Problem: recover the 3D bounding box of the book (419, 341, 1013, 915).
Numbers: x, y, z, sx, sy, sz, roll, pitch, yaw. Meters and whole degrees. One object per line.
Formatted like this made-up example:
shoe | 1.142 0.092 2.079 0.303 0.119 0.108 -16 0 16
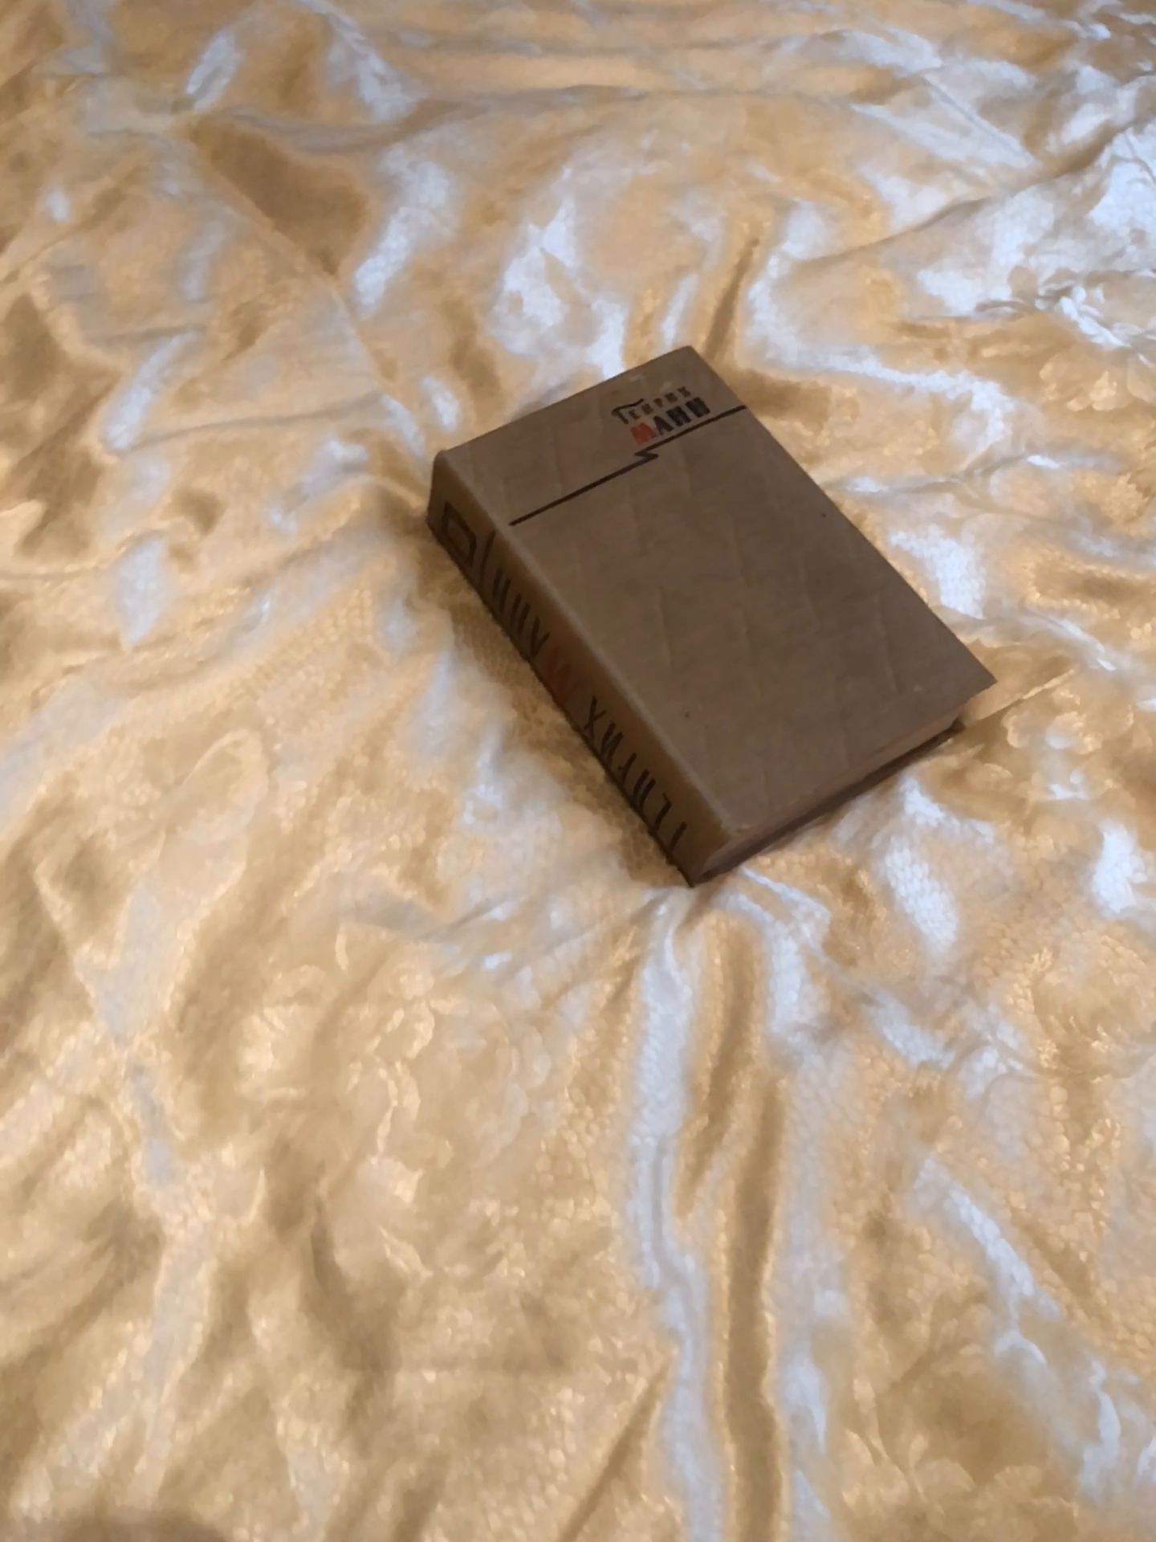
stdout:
book | 0.049 -0.068 0.527 0.142 0.051 0.208 -28 67 -18
